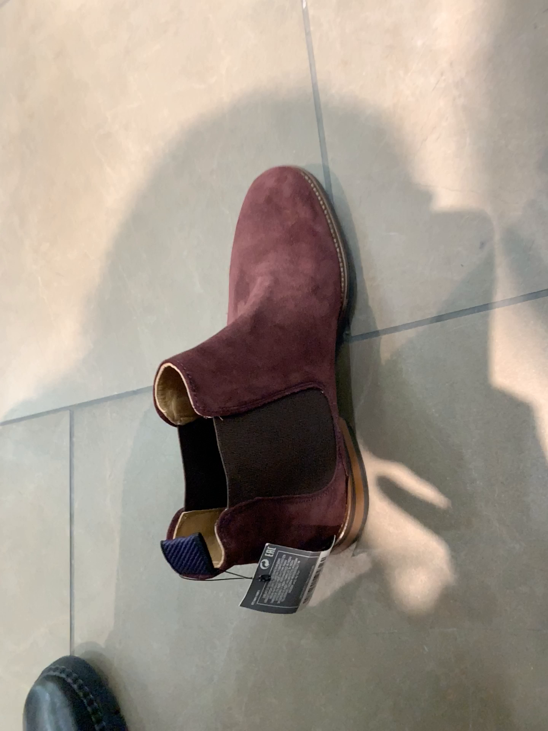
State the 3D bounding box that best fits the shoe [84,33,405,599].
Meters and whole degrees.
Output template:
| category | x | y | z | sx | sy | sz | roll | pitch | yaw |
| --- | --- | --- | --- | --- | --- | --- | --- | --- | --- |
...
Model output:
| category | x | y | z | sx | sy | sz | roll | pitch | yaw |
| --- | --- | --- | --- | --- | --- | --- | --- | --- | --- |
| shoe | -0.019 | -0.020 | 0.377 | 0.114 | 0.161 | 0.298 | -16 | 72 | 28 |
